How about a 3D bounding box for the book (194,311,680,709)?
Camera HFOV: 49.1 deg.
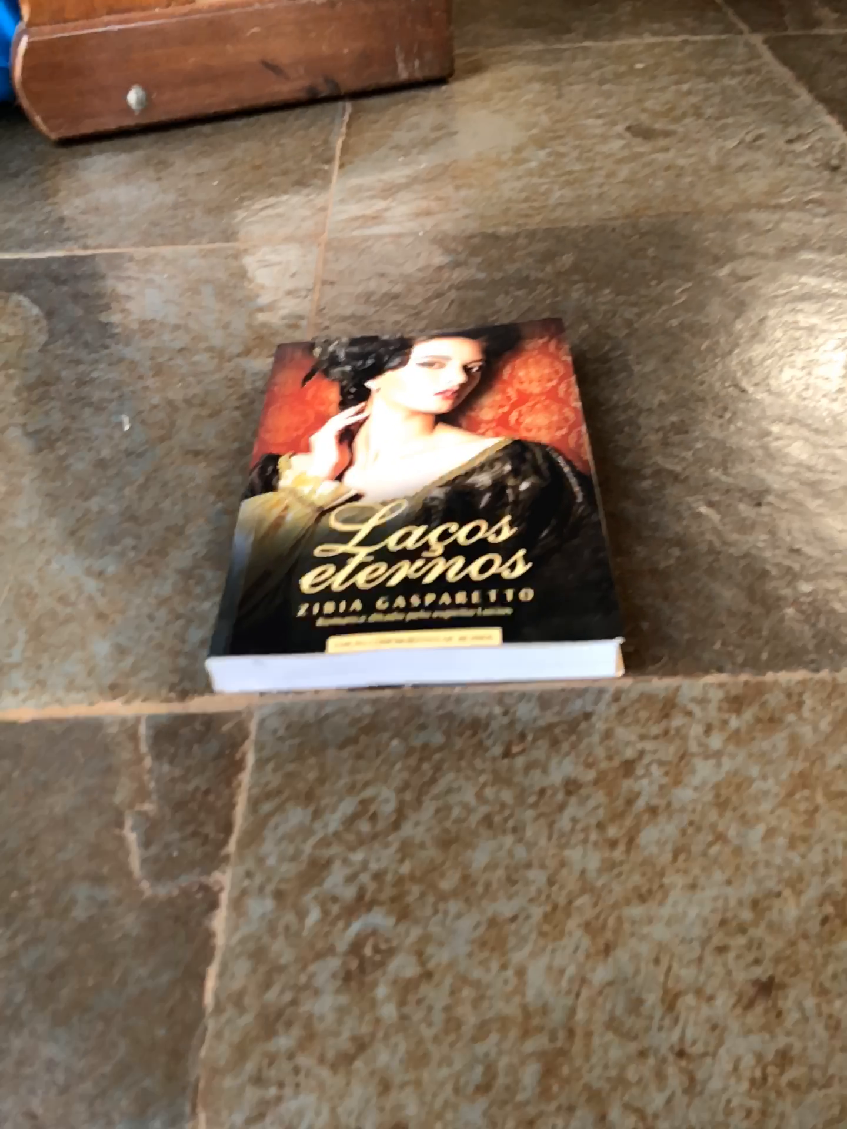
[{"bbox_3d":[0.004,-0.036,0.375,0.153,0.026,0.206,-3,44,2],"label":"book"}]
